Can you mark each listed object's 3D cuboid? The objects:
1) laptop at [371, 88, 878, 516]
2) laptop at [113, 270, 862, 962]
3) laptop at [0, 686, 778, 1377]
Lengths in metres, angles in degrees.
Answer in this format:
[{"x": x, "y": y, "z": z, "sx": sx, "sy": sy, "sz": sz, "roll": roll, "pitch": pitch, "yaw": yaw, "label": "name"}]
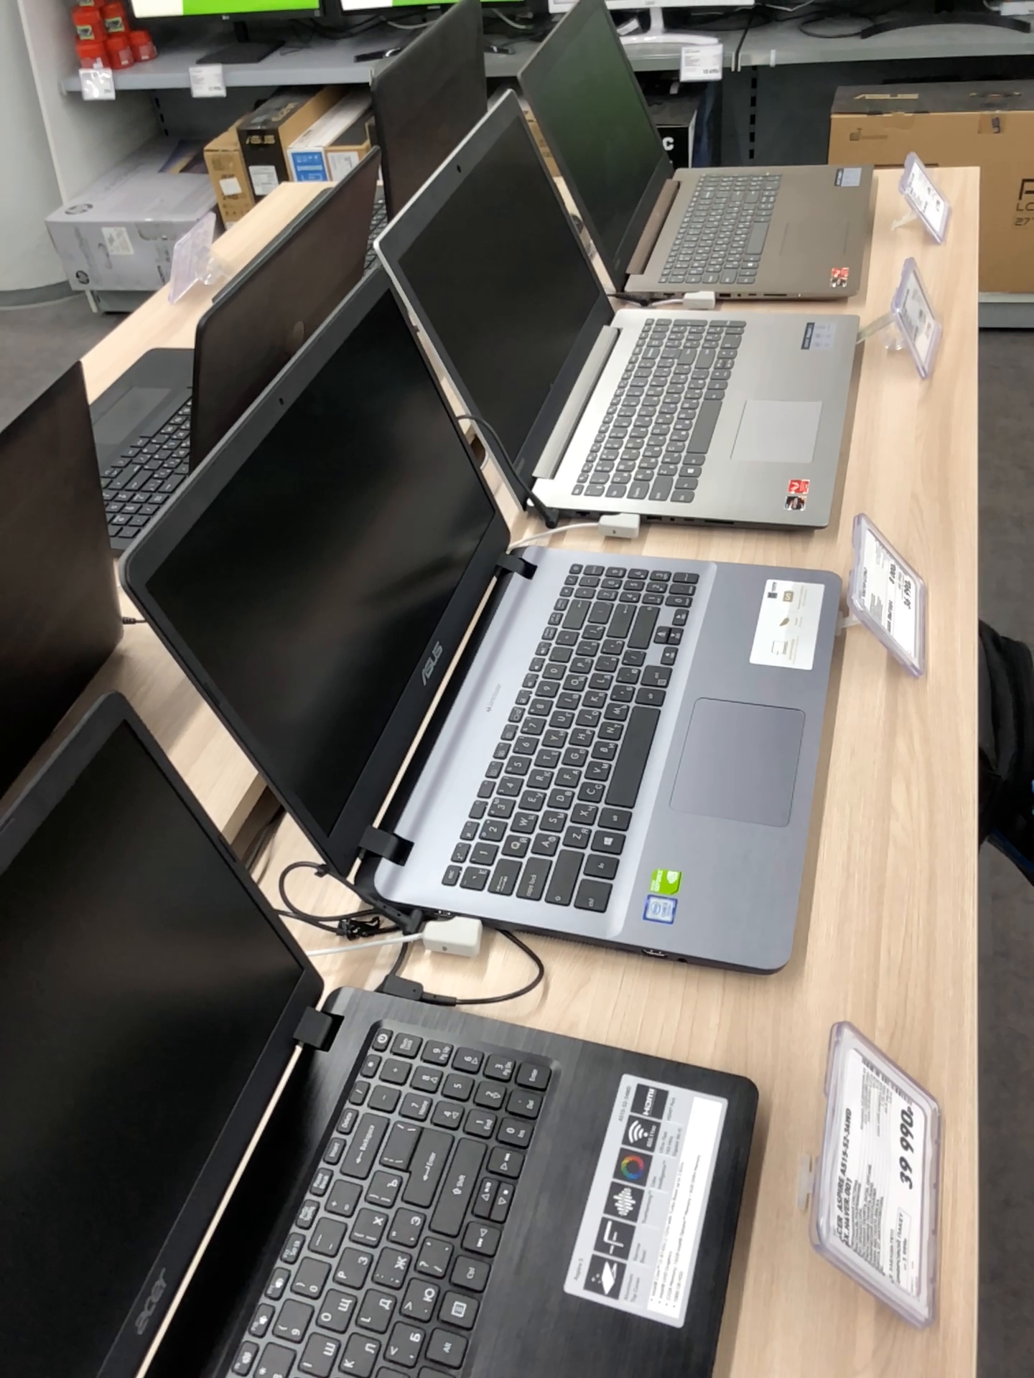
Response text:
[{"x": 0.122, "y": -0.355, "z": 1.000, "sx": 0.332, "sy": 0.220, "sz": 0.372, "roll": 6, "pitch": 43, "yaw": 13, "label": "laptop"}, {"x": 0.022, "y": -0.071, "z": 0.698, "sx": 0.328, "sy": 0.226, "sz": 0.346, "roll": 7, "pitch": 44, "yaw": 15, "label": "laptop"}, {"x": -0.077, "y": 0.211, "z": 0.411, "sx": 0.291, "sy": 0.222, "sz": 0.334, "roll": 8, "pitch": 44, "yaw": 16, "label": "laptop"}]
